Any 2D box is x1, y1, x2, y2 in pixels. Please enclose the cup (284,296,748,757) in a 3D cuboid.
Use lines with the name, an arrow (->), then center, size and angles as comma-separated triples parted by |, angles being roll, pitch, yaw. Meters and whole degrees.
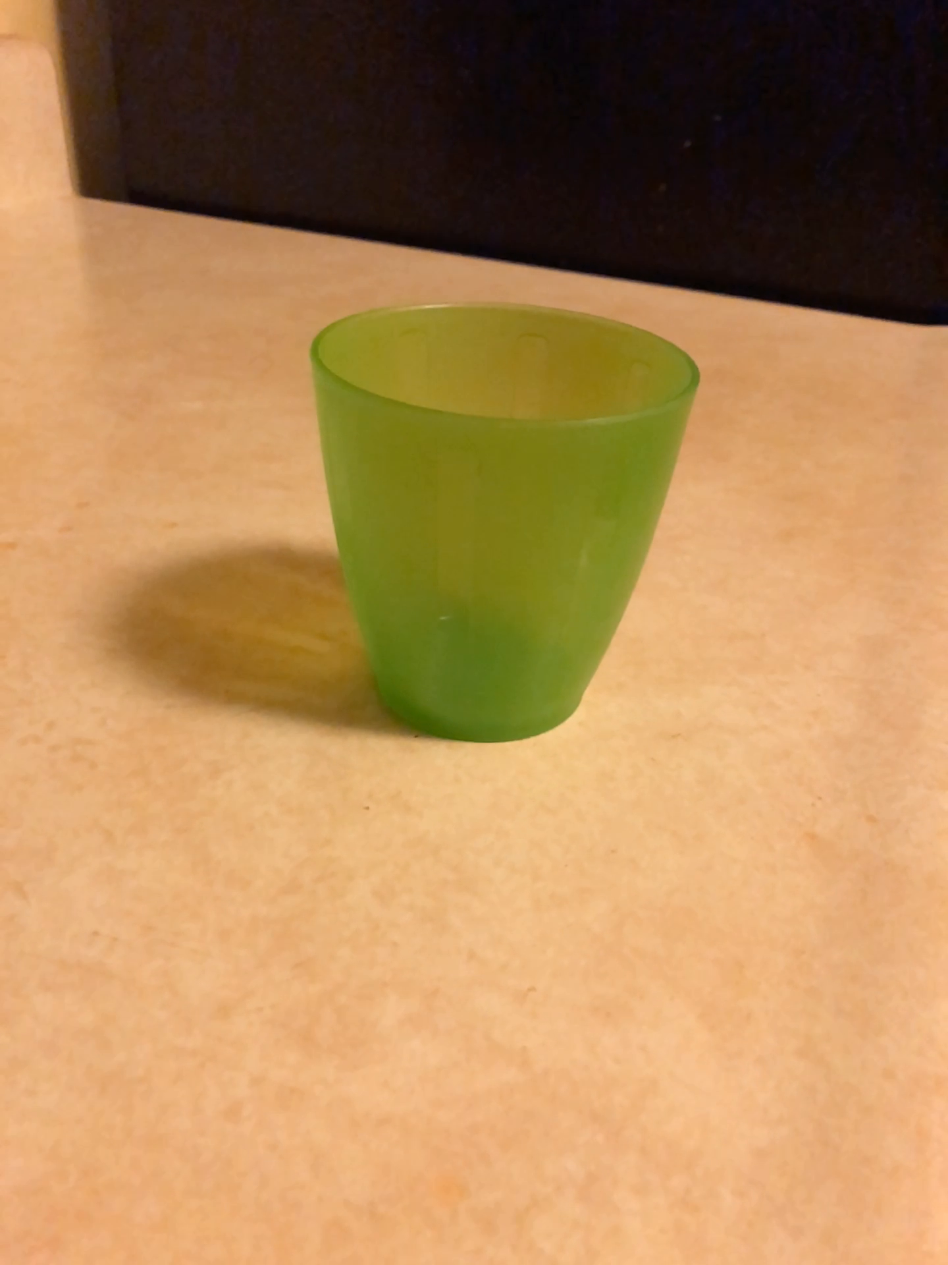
cup -> 0.001, -0.027, 0.231 | 0.080, 0.070, 0.080 | 2, 31, -1
